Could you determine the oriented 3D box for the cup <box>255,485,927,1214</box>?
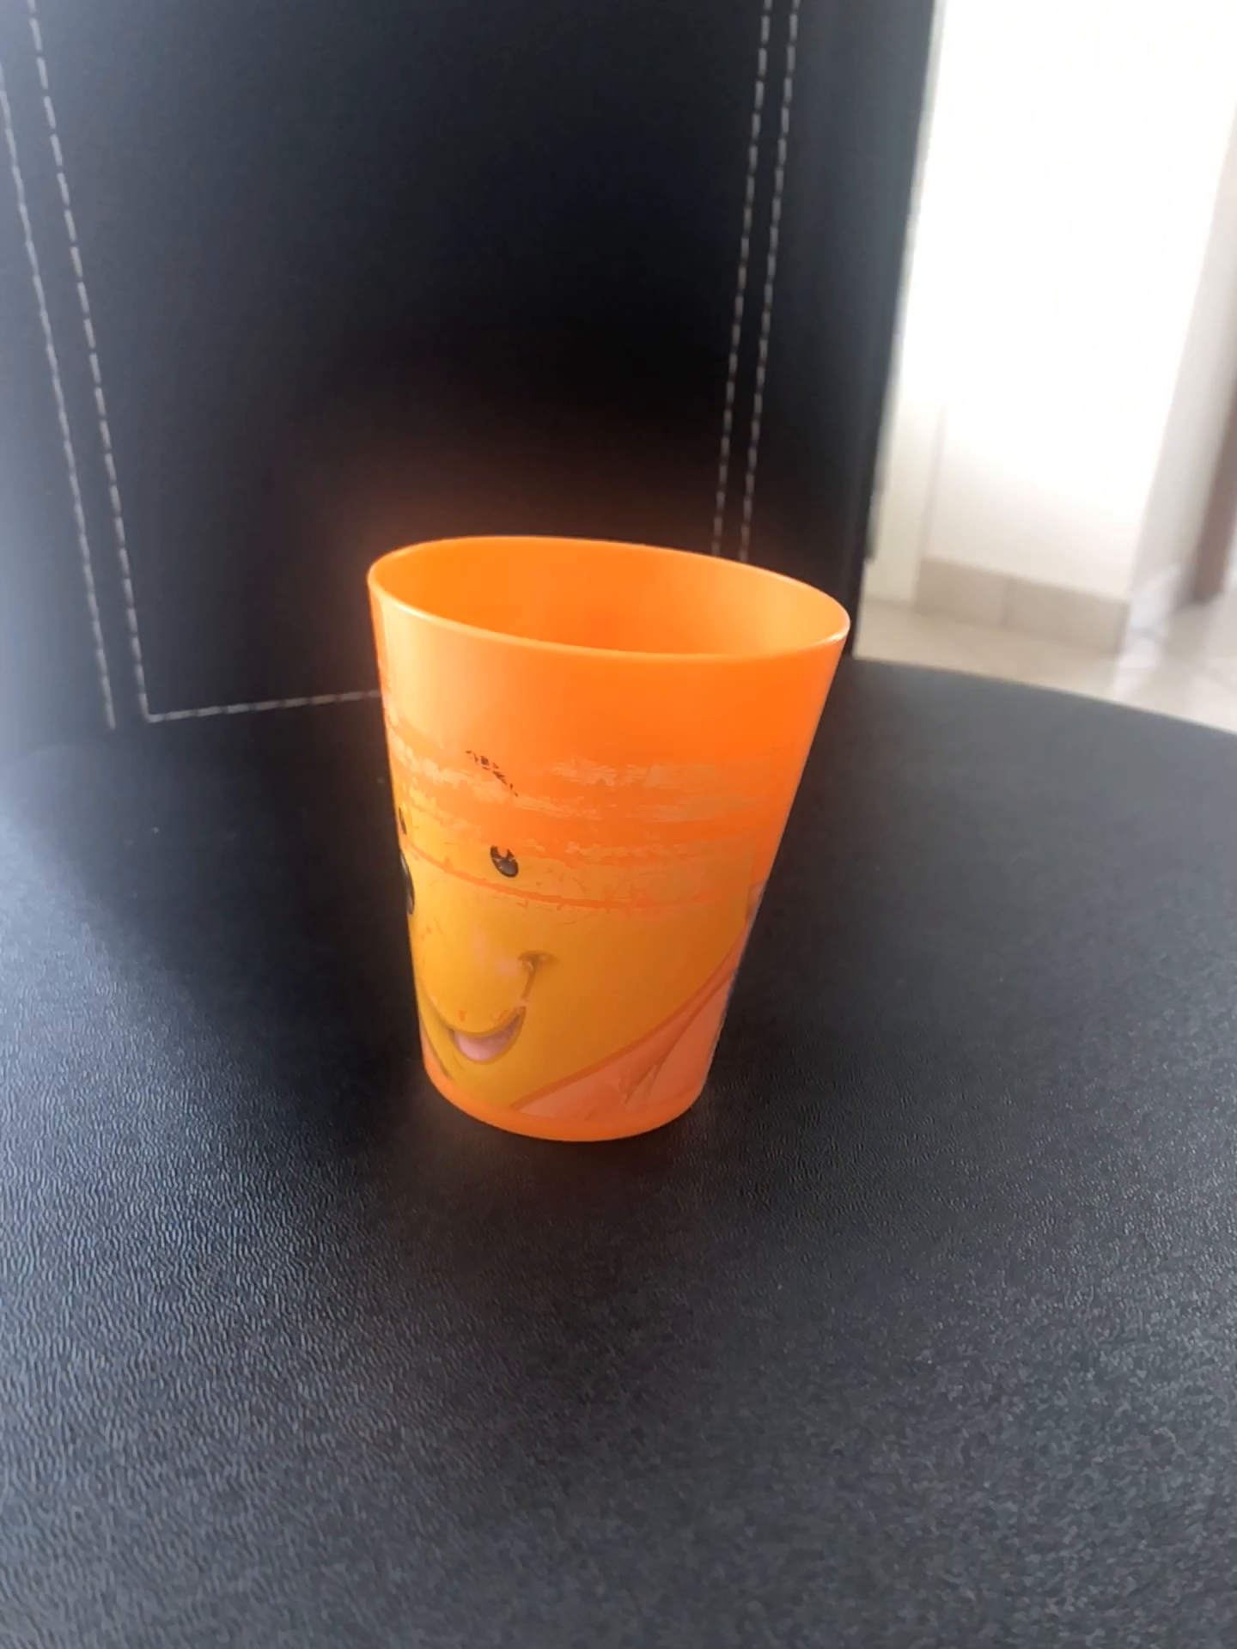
[{"bbox_3d":[-0.005,-0.004,0.247,0.080,0.090,0.080,3,24,-2],"label":"cup"}]
